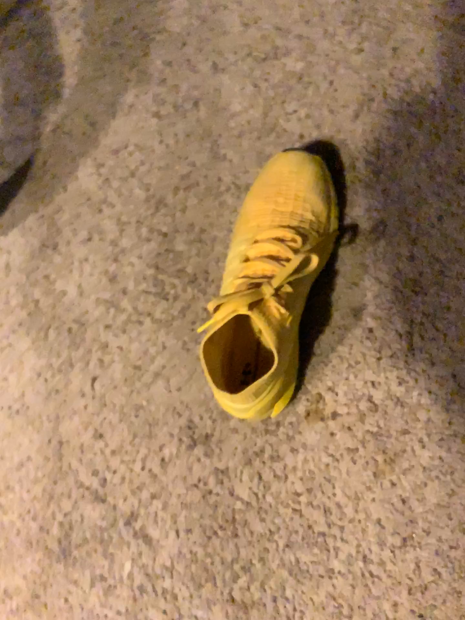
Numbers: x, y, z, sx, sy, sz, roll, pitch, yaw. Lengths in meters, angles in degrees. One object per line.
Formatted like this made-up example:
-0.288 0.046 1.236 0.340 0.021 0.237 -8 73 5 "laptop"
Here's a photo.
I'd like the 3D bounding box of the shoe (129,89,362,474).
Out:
0.020 -0.028 0.520 0.130 0.130 0.320 13 92 20 "shoe"
